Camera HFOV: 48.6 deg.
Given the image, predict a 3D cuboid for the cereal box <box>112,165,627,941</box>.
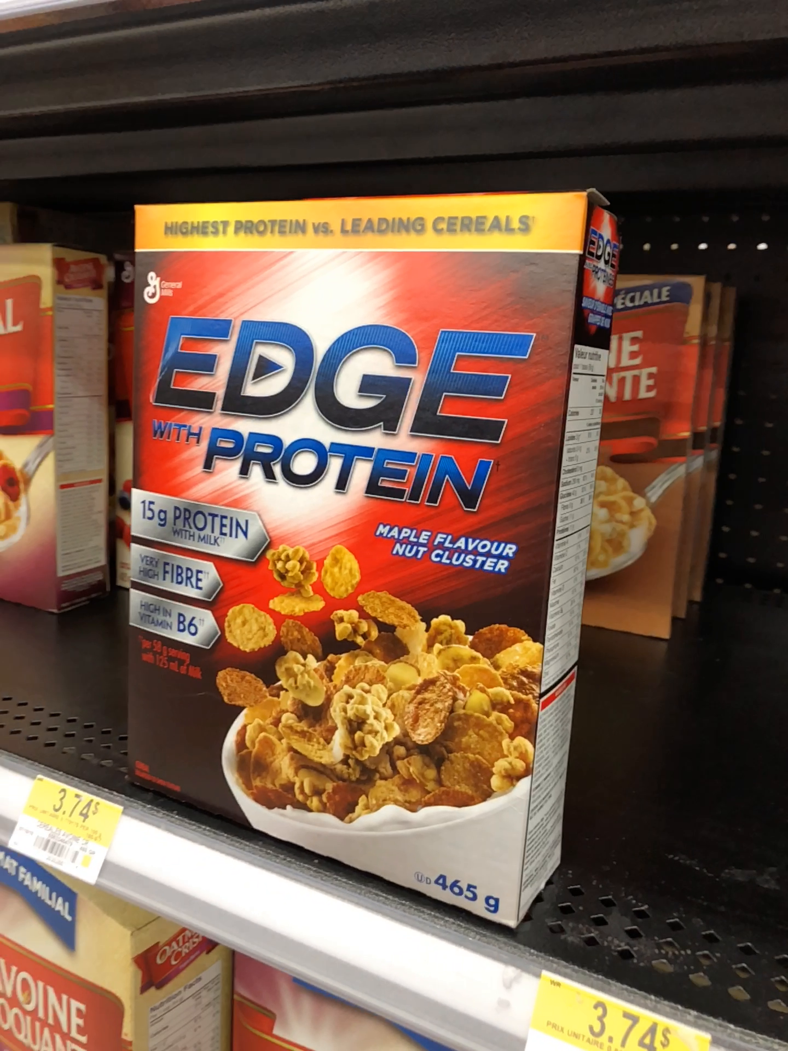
[{"bbox_3d":[-0.024,0.001,0.370,0.200,0.269,0.060,9,11,29],"label":"cereal box"}]
